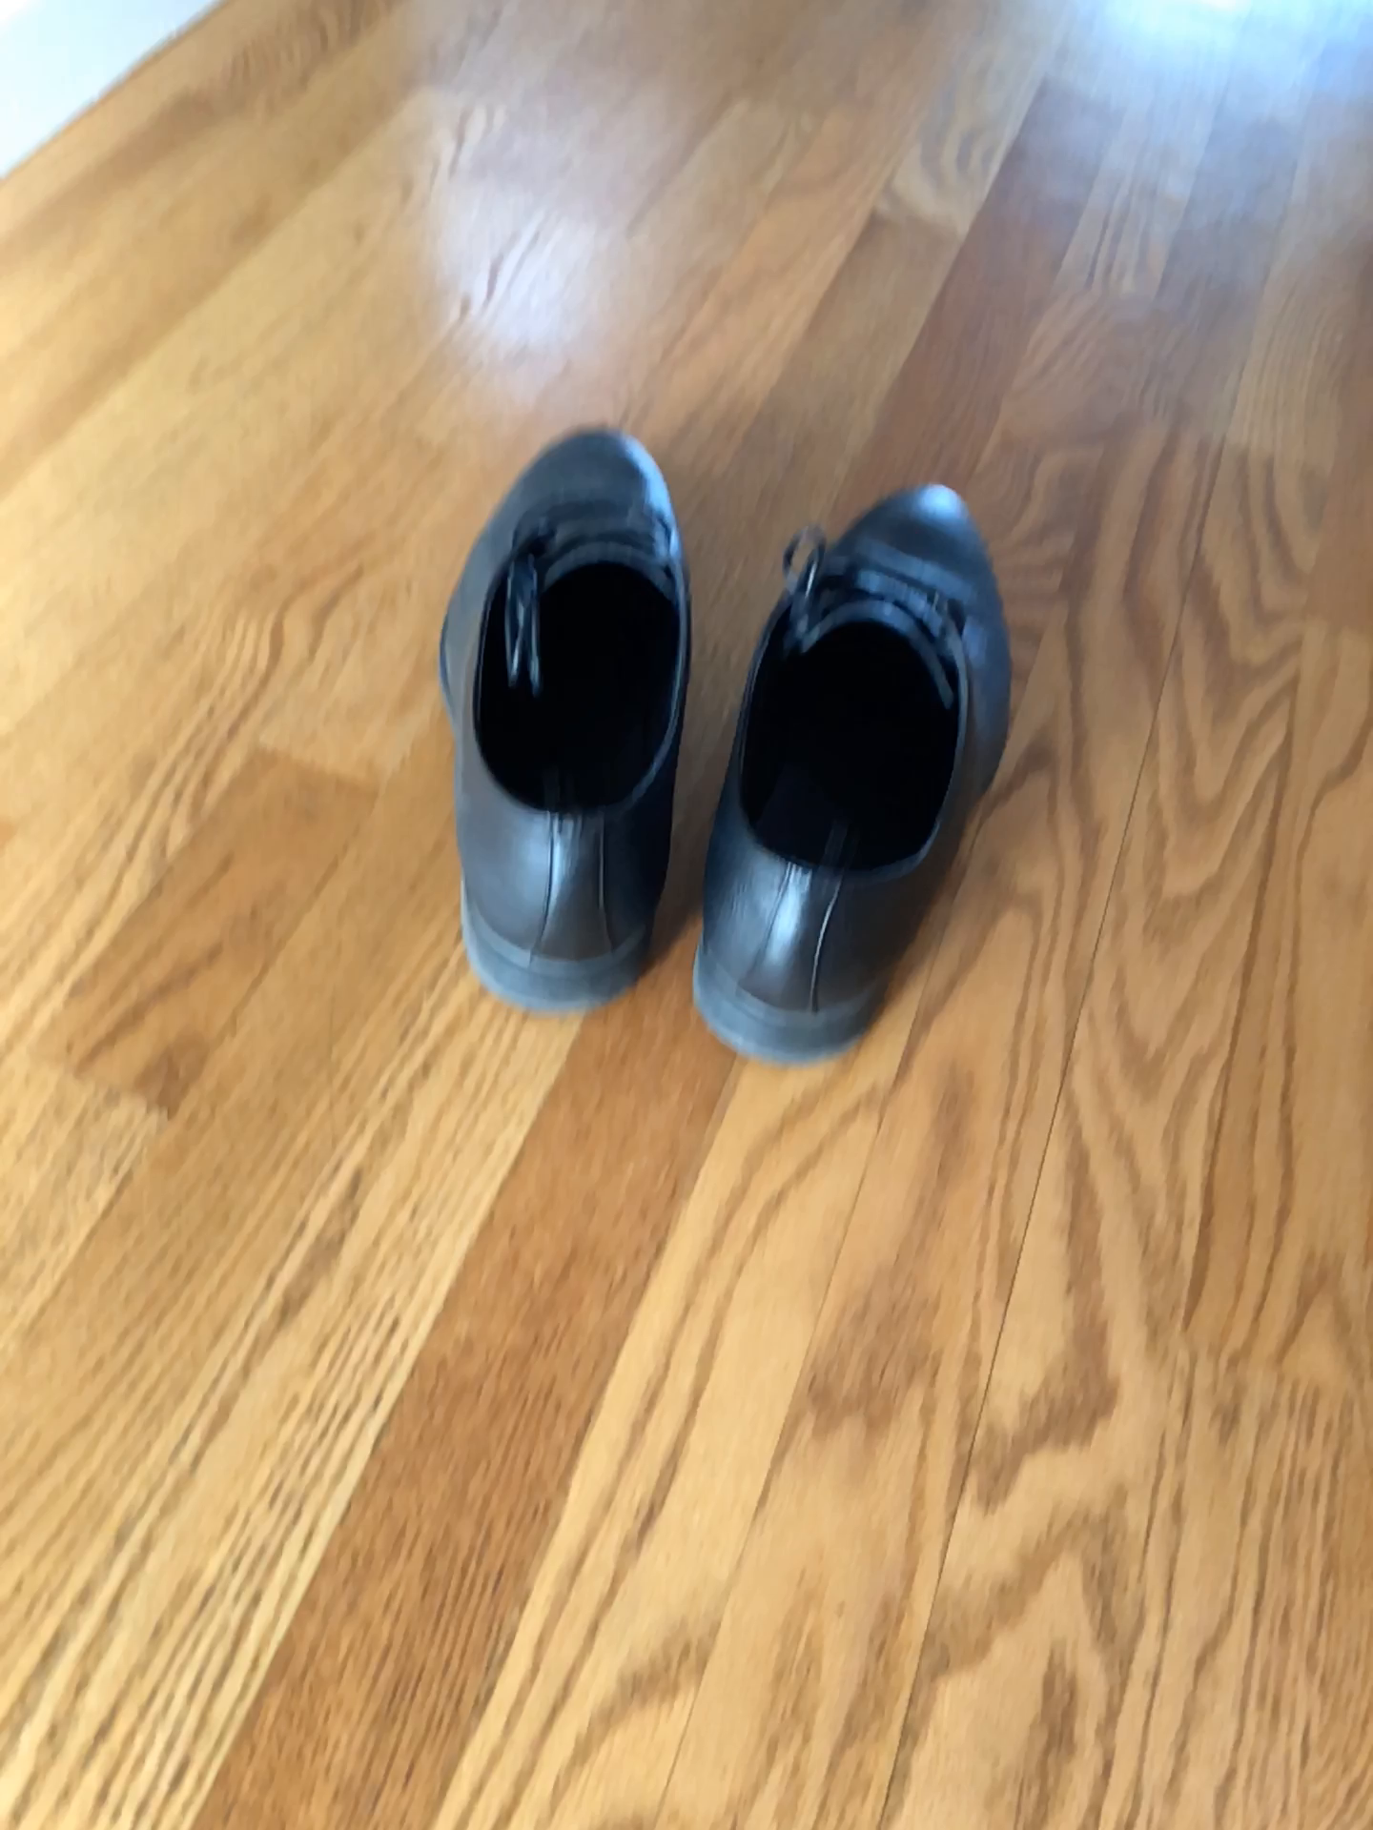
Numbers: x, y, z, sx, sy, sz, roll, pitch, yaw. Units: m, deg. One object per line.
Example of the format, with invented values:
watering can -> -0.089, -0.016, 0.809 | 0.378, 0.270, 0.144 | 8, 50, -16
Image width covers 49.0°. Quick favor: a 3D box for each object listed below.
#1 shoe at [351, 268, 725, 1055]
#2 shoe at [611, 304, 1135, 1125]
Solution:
shoe -> -0.049, -0.111, 0.602 | 0.110, 0.124, 0.305 | 5, 54, -3
shoe -> 0.078, -0.090, 0.586 | 0.110, 0.124, 0.300 | 18, 54, 7
